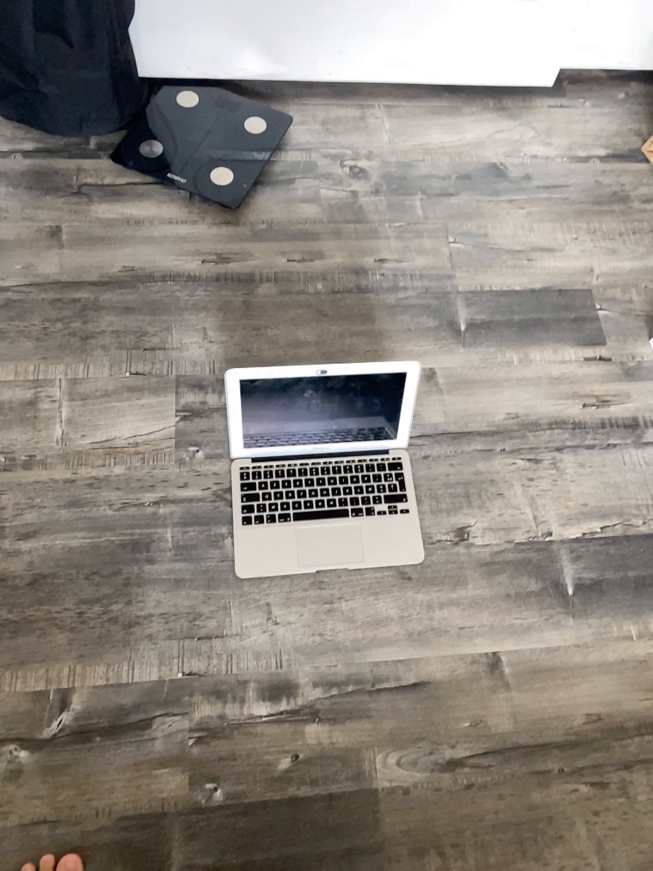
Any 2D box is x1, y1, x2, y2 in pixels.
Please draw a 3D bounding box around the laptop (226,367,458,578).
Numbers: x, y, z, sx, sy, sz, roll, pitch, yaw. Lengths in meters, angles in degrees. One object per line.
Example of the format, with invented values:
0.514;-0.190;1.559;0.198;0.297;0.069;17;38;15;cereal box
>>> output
0.007;0.053;0.978;0.290;0.159;0.255;-3;64;-7;laptop
